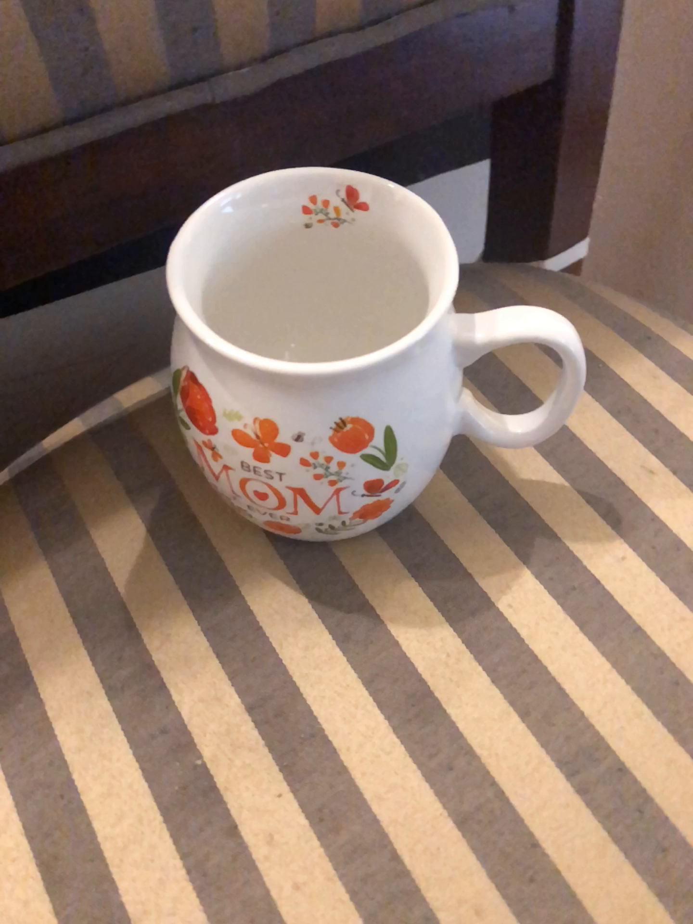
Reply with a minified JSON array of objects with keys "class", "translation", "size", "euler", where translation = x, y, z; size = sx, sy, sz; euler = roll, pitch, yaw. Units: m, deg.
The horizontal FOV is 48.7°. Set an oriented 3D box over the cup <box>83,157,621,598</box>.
[{"class":"cup","translation":[0.008,-0.031,0.266],"size":[0.140,0.089,0.111],"euler":[5,54,6]}]
